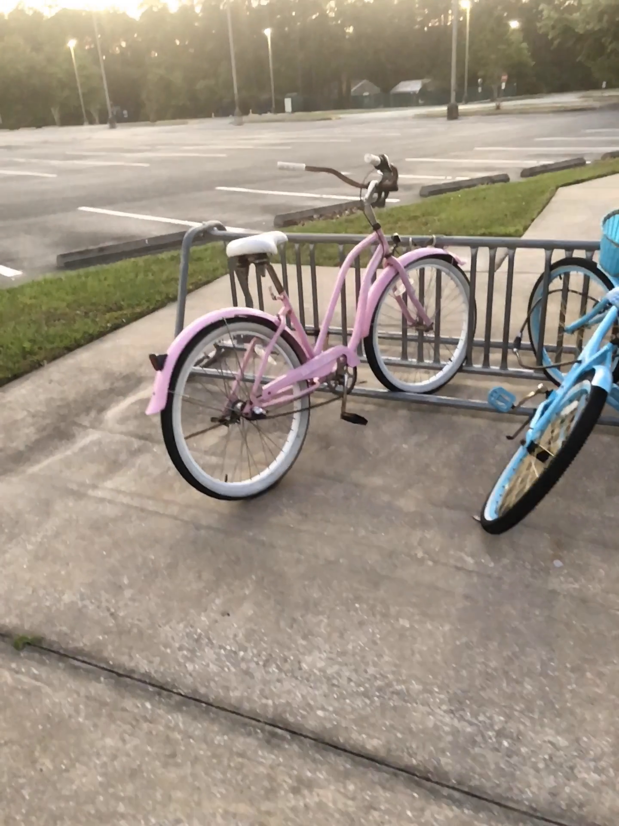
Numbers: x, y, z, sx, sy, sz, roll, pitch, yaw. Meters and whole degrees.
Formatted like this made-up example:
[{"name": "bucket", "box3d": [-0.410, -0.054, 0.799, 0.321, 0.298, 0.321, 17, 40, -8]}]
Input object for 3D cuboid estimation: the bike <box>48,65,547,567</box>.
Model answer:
[{"name": "bike", "box3d": [0.056, -0.524, 2.624, 1.657, 1.116, 0.840, -31, 35, -35]}]
